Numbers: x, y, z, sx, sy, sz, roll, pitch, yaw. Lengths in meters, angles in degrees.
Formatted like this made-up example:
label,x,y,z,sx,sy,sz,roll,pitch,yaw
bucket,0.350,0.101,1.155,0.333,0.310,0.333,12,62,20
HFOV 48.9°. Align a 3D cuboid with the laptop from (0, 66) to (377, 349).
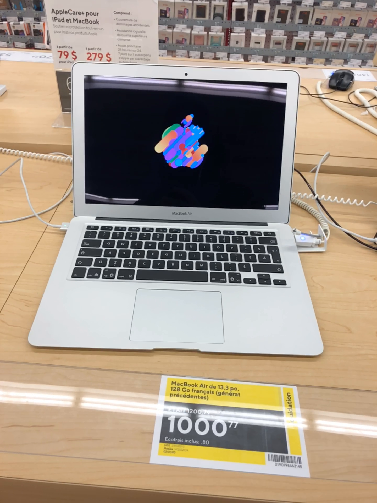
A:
label,x,y,z,sx,sy,sz,roll,pitch,yaw
laptop,-0.008,-0.073,0.500,0.305,0.186,0.326,2,39,-2
